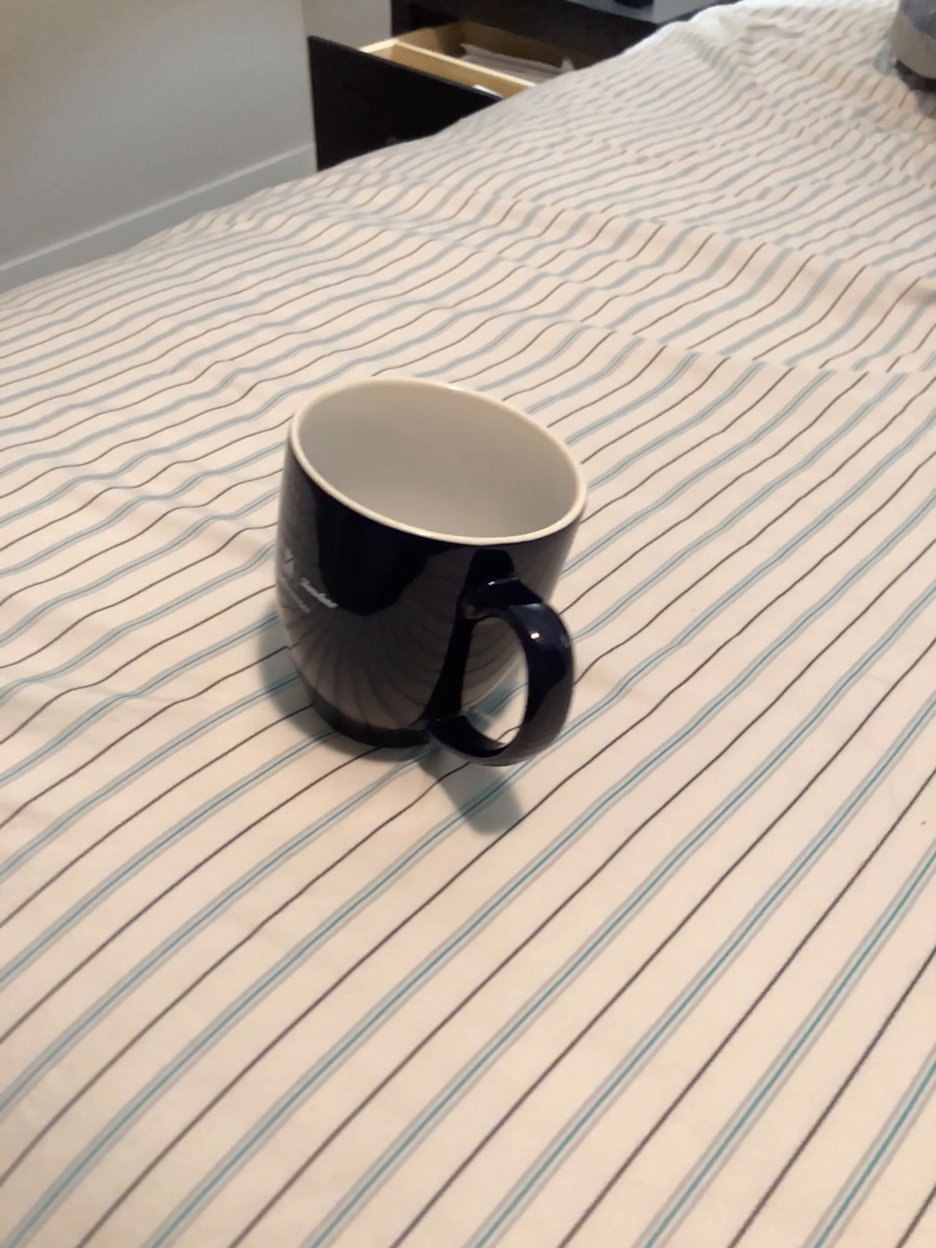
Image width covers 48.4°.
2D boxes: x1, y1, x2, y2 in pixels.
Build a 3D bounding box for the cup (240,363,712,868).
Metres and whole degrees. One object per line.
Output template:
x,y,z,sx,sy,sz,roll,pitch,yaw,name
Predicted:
-0.008,-0.011,0.344,0.090,0.090,0.130,-13,45,-28,cup
